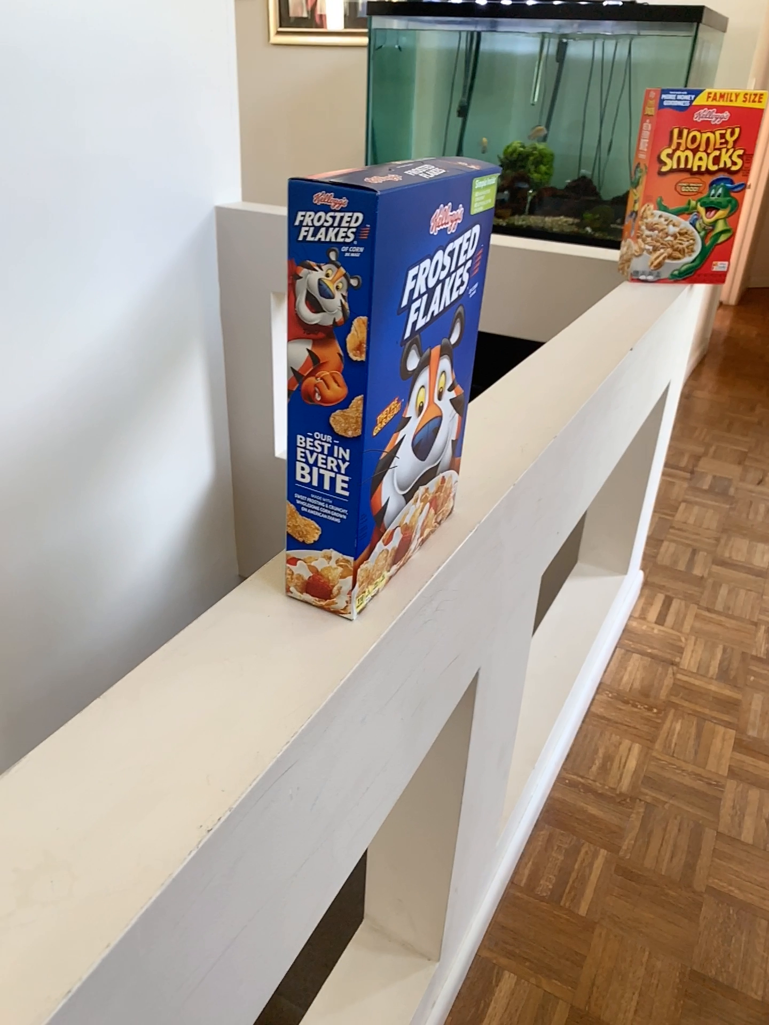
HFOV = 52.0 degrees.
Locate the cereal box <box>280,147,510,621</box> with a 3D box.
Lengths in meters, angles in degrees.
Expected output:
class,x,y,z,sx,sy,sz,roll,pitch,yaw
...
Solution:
class,x,y,z,sx,sy,sz,roll,pitch,yaw
cereal box,0.007,-0.099,0.573,0.060,0.288,0.201,18,32,21
